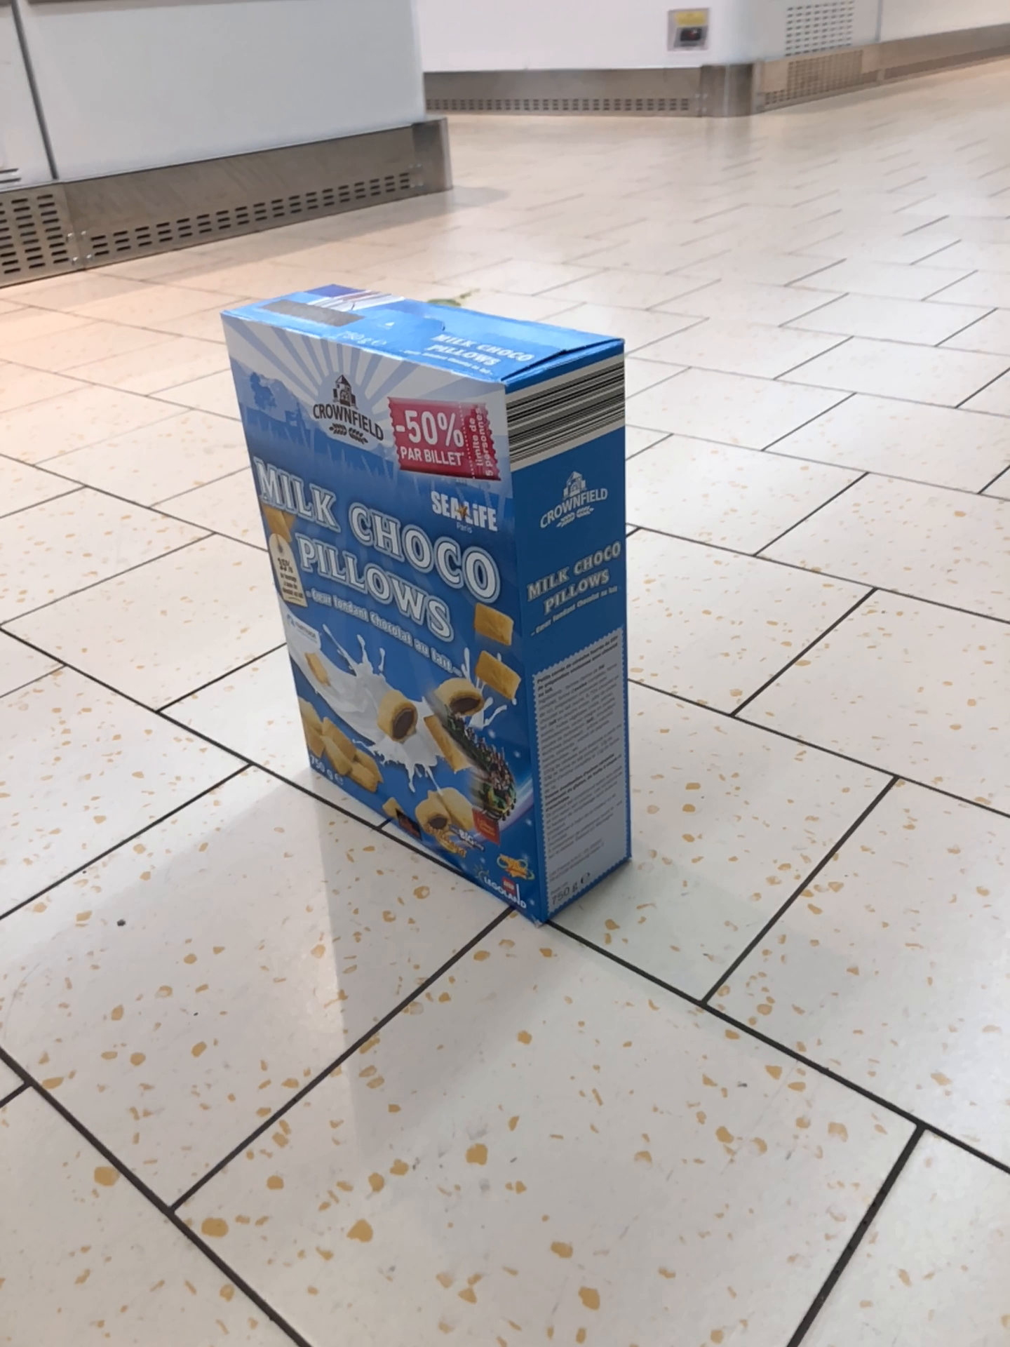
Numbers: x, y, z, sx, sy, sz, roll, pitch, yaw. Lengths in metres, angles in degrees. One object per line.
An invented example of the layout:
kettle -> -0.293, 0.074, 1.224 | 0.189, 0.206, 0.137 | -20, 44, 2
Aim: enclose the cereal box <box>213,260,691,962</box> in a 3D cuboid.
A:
cereal box -> -0.024, -0.038, 0.512 | 0.080, 0.259, 0.210 | -26, 37, -33
